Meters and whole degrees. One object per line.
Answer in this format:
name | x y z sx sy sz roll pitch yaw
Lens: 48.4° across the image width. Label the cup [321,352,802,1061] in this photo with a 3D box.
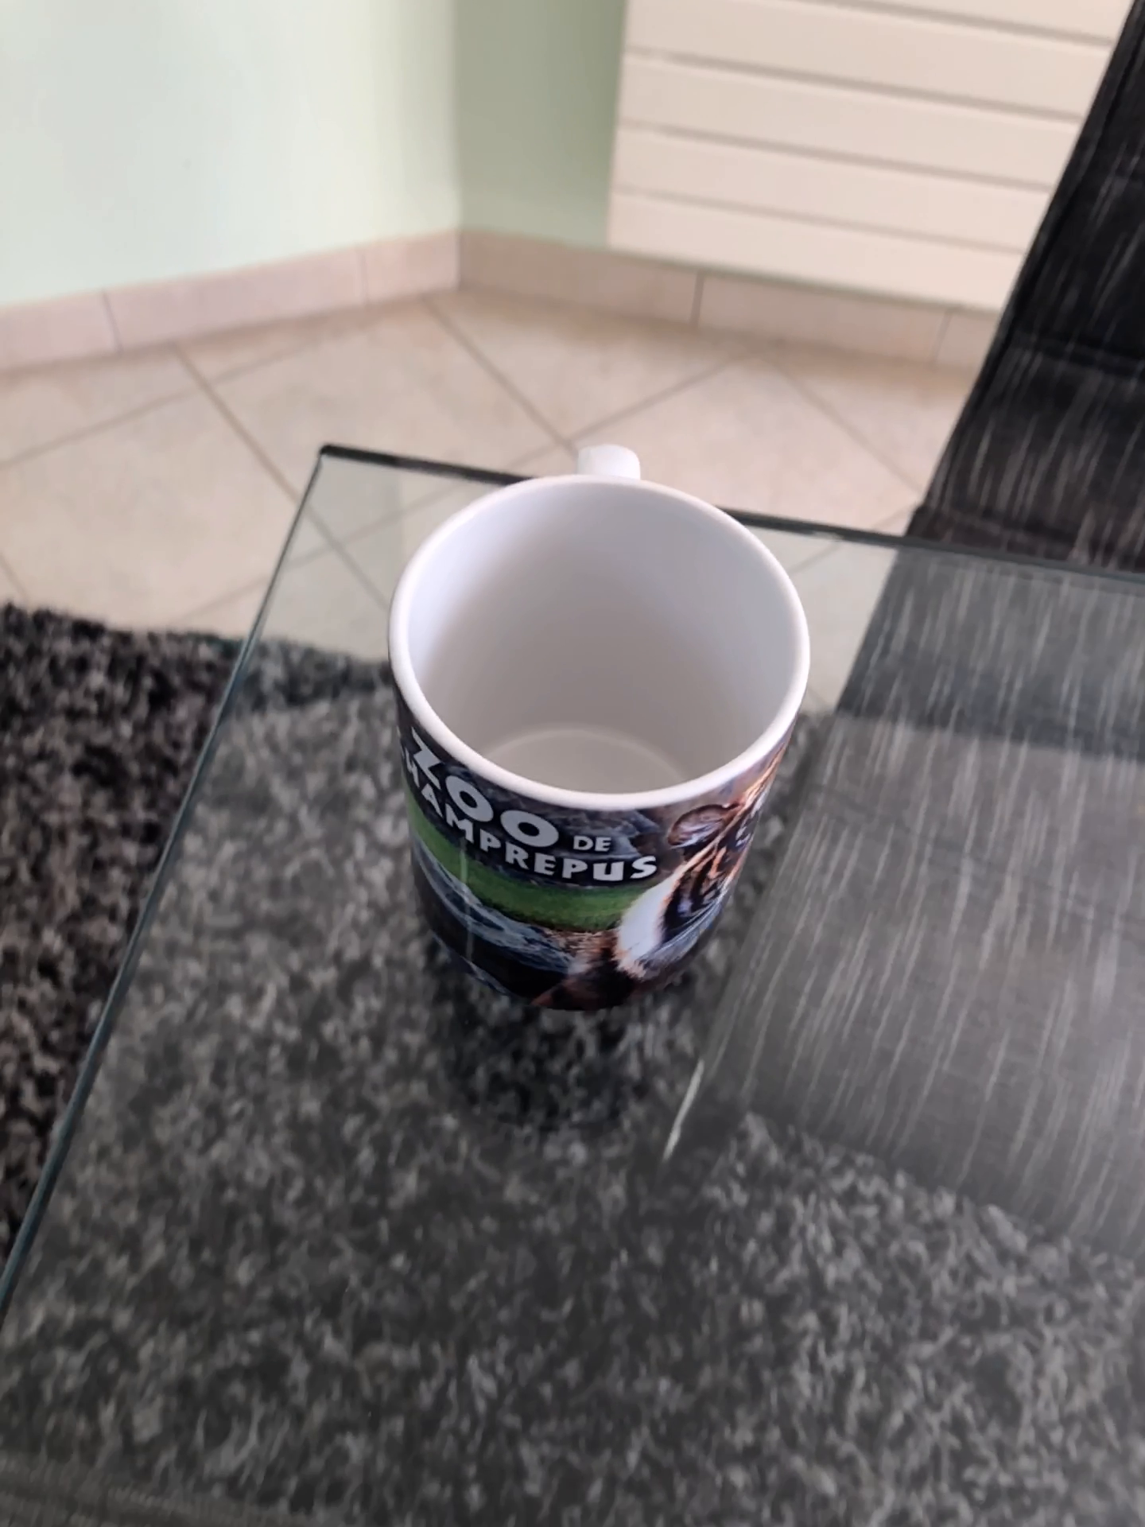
cup | 0.000 -0.011 0.281 0.080 0.090 0.121 5 57 -1
